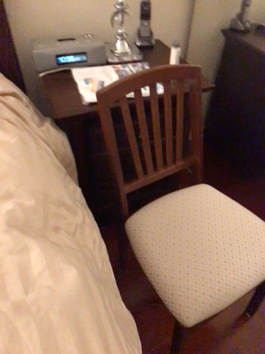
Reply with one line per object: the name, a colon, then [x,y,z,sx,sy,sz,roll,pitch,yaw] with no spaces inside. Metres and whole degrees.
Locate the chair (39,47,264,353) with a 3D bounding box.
chair: [0.171,0.208,1.100,0.622,1.032,0.693,-24,50,-24]
